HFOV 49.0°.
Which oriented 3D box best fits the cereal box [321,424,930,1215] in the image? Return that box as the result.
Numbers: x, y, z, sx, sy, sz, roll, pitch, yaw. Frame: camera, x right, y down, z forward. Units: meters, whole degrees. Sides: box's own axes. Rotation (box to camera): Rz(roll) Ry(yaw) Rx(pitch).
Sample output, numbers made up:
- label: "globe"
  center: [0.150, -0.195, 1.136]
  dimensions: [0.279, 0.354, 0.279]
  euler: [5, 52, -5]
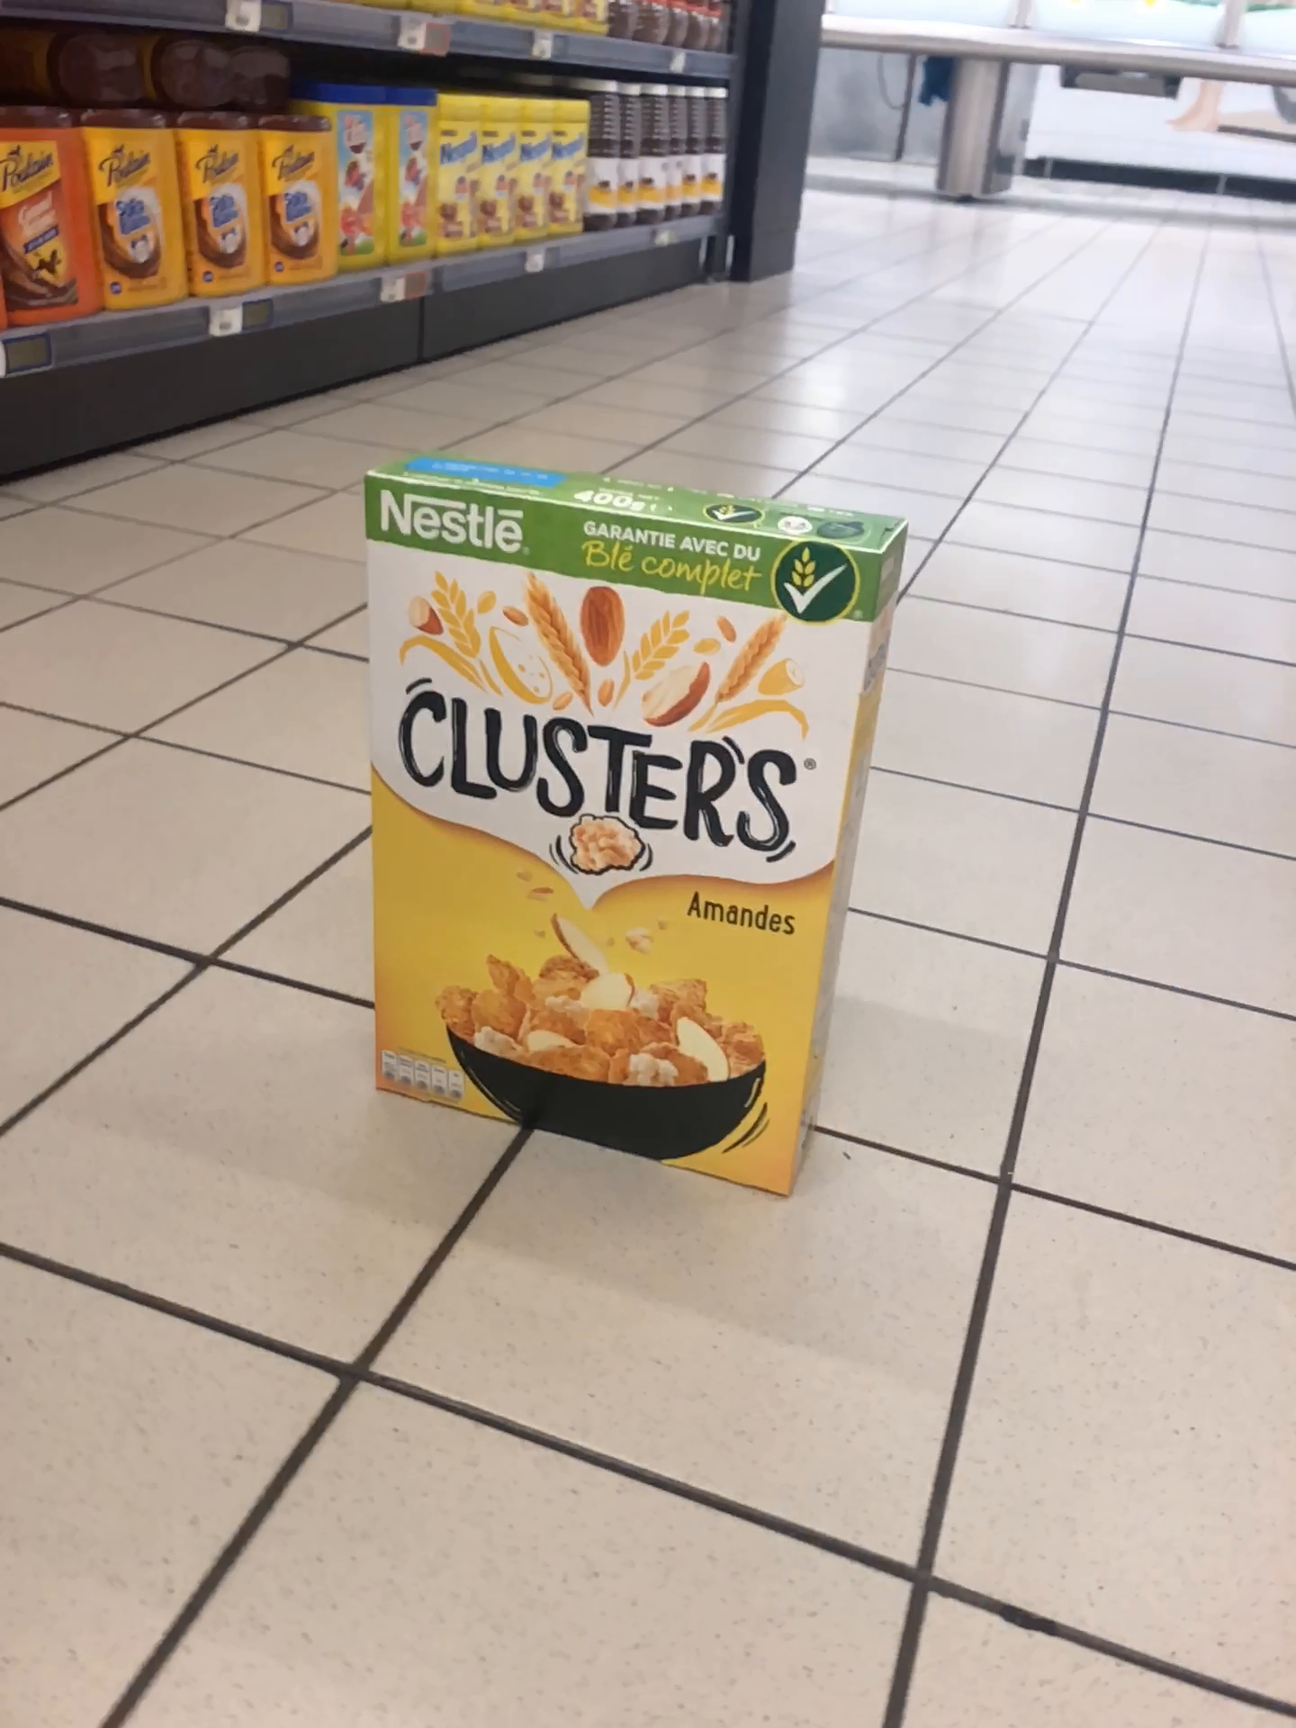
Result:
- label: "cereal box"
  center: [-0.018, -0.016, 0.570]
  dimensions: [0.210, 0.278, 0.060]
  euler: [12, 27, 15]
